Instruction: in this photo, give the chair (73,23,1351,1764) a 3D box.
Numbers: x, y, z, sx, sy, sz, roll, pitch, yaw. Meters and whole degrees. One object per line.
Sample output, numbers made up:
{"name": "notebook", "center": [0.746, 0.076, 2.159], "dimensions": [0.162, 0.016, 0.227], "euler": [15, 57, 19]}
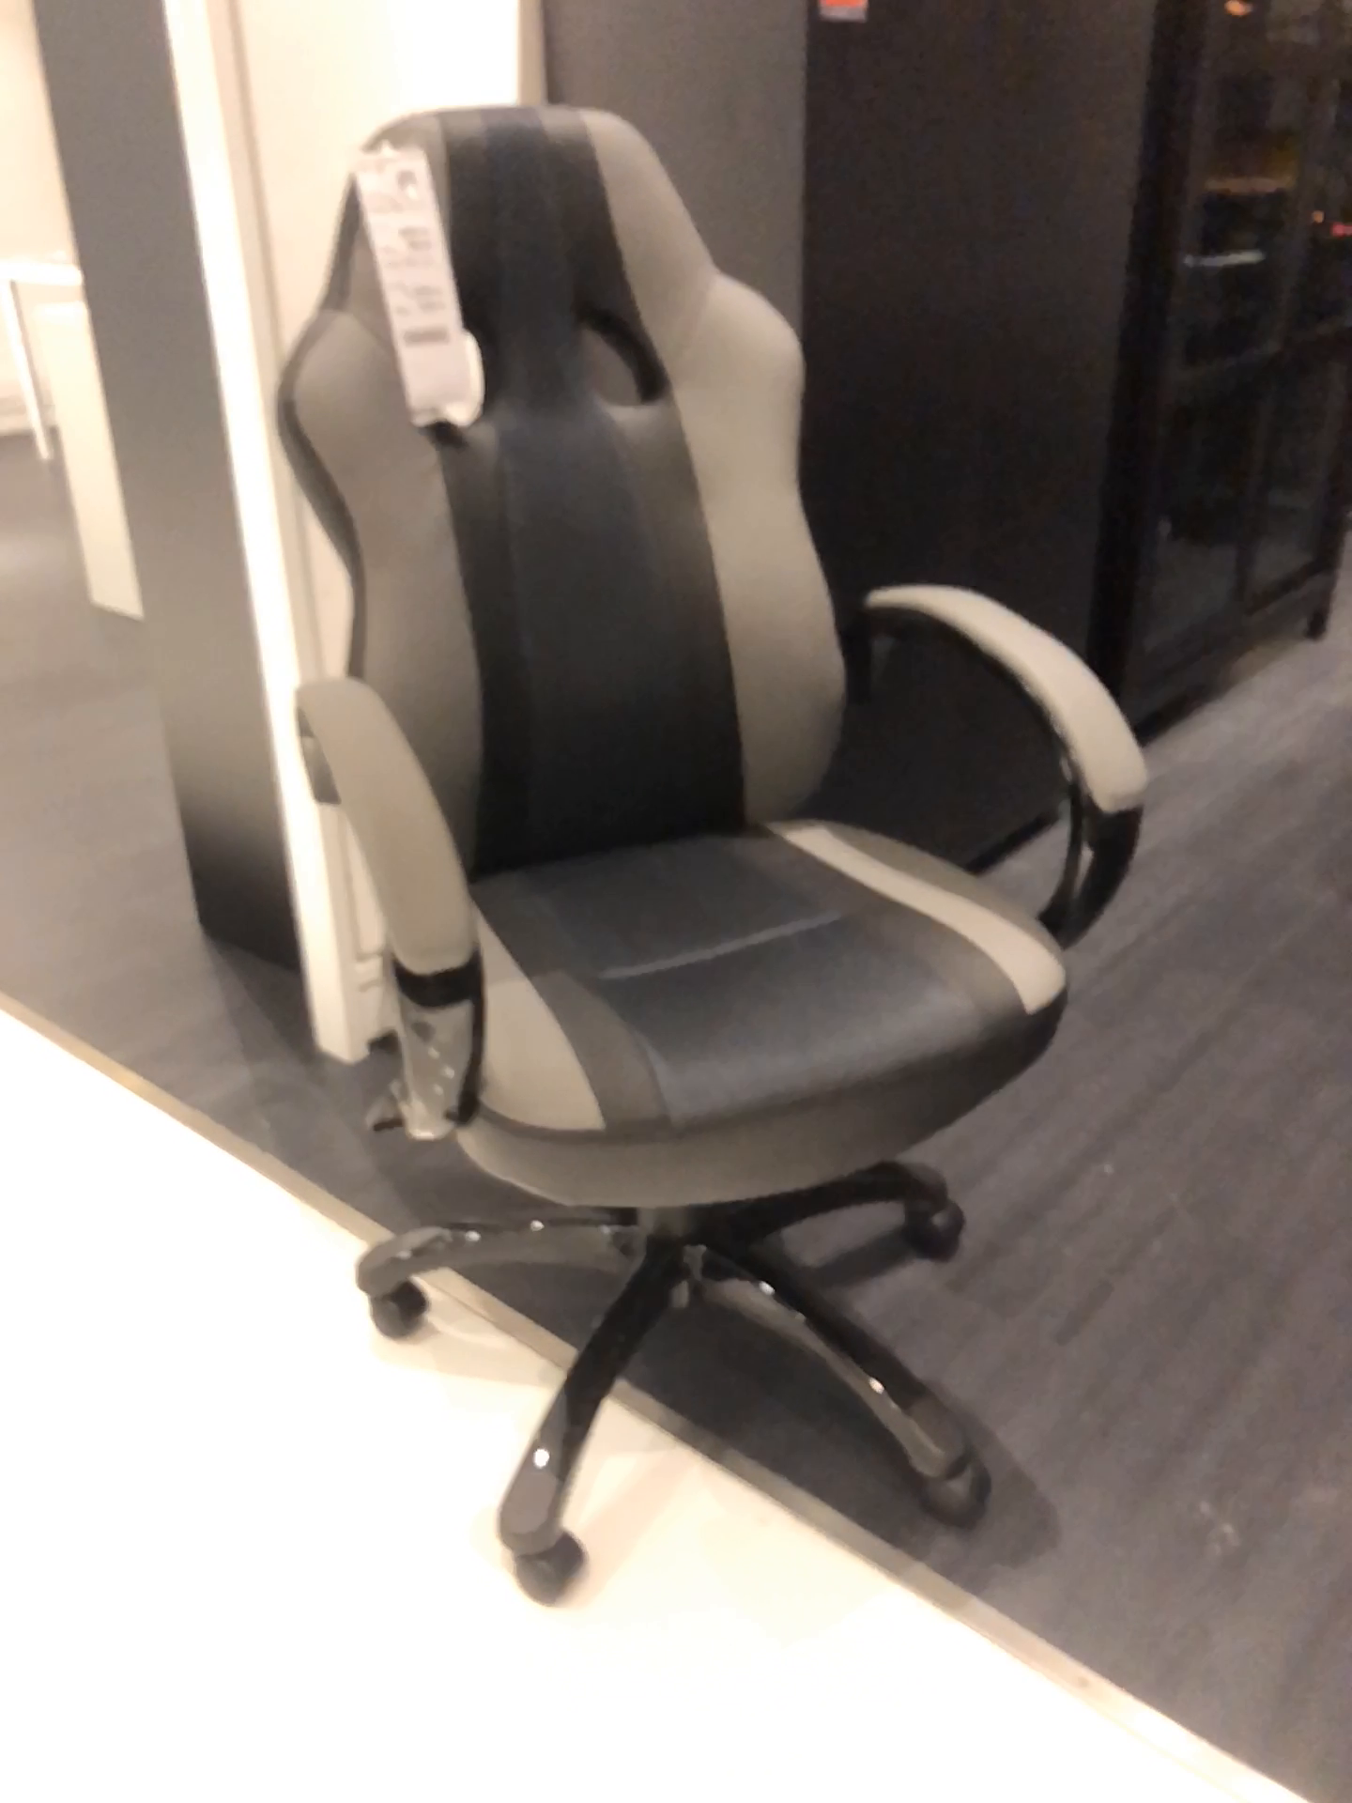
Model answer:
{"name": "chair", "center": [-0.019, -0.088, 1.351], "dimensions": [0.711, 1.162, 0.785], "euler": [-12, 28, -21]}
